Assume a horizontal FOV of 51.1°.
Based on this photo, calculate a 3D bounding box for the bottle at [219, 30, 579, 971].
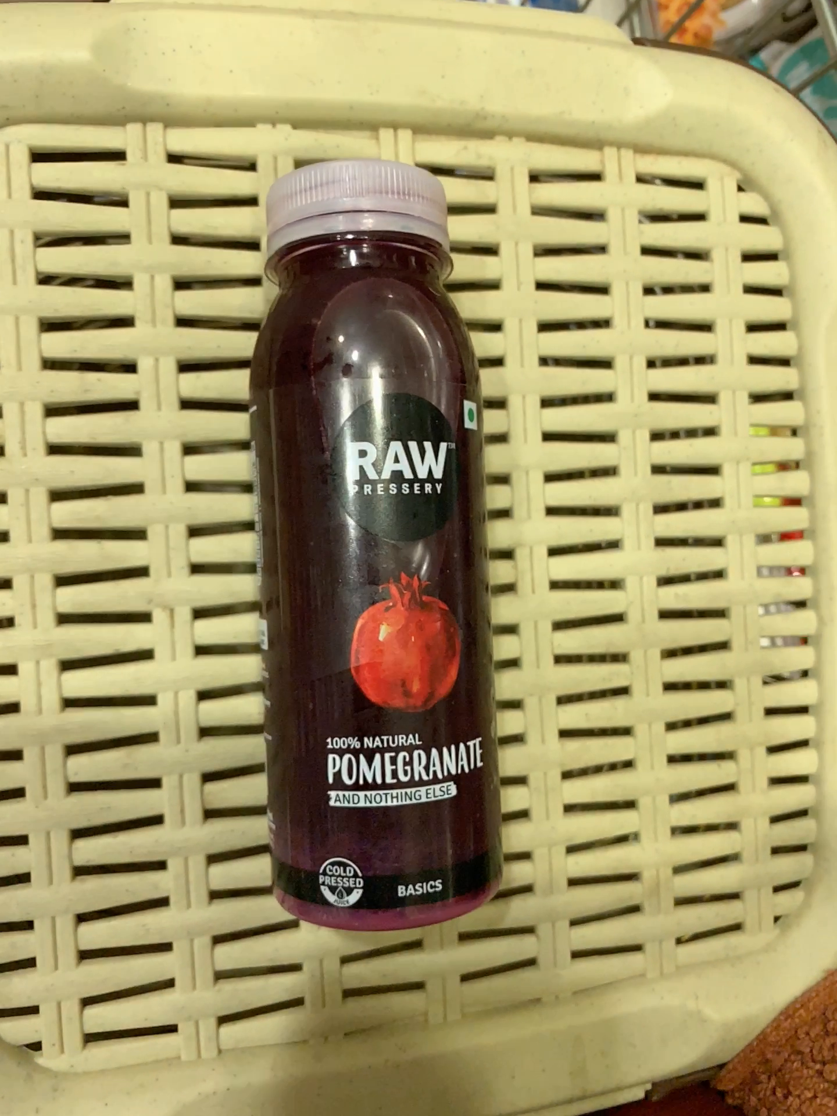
[{"bbox_3d":[-0.007,-0.010,0.181,0.060,0.050,0.160,-2,91,-15],"label":"bottle"}]
